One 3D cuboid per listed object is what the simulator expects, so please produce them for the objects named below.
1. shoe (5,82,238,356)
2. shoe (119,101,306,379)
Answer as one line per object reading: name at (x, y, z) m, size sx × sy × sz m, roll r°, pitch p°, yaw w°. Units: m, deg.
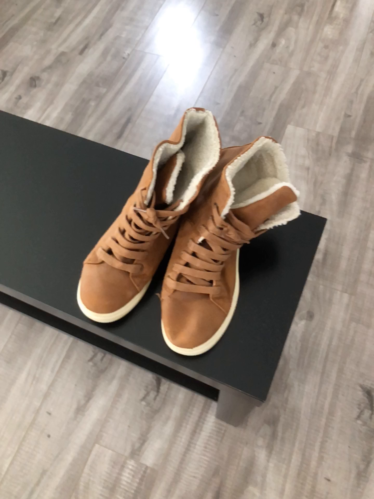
shoe at (-0.053, -0.034, 0.482) m, size 0.110 × 0.150 × 0.260 m, roll 26°, pitch 67°, yaw 15°
shoe at (0.038, -0.012, 0.468) m, size 0.110 × 0.140 × 0.260 m, roll 16°, pitch 65°, yaw 11°
